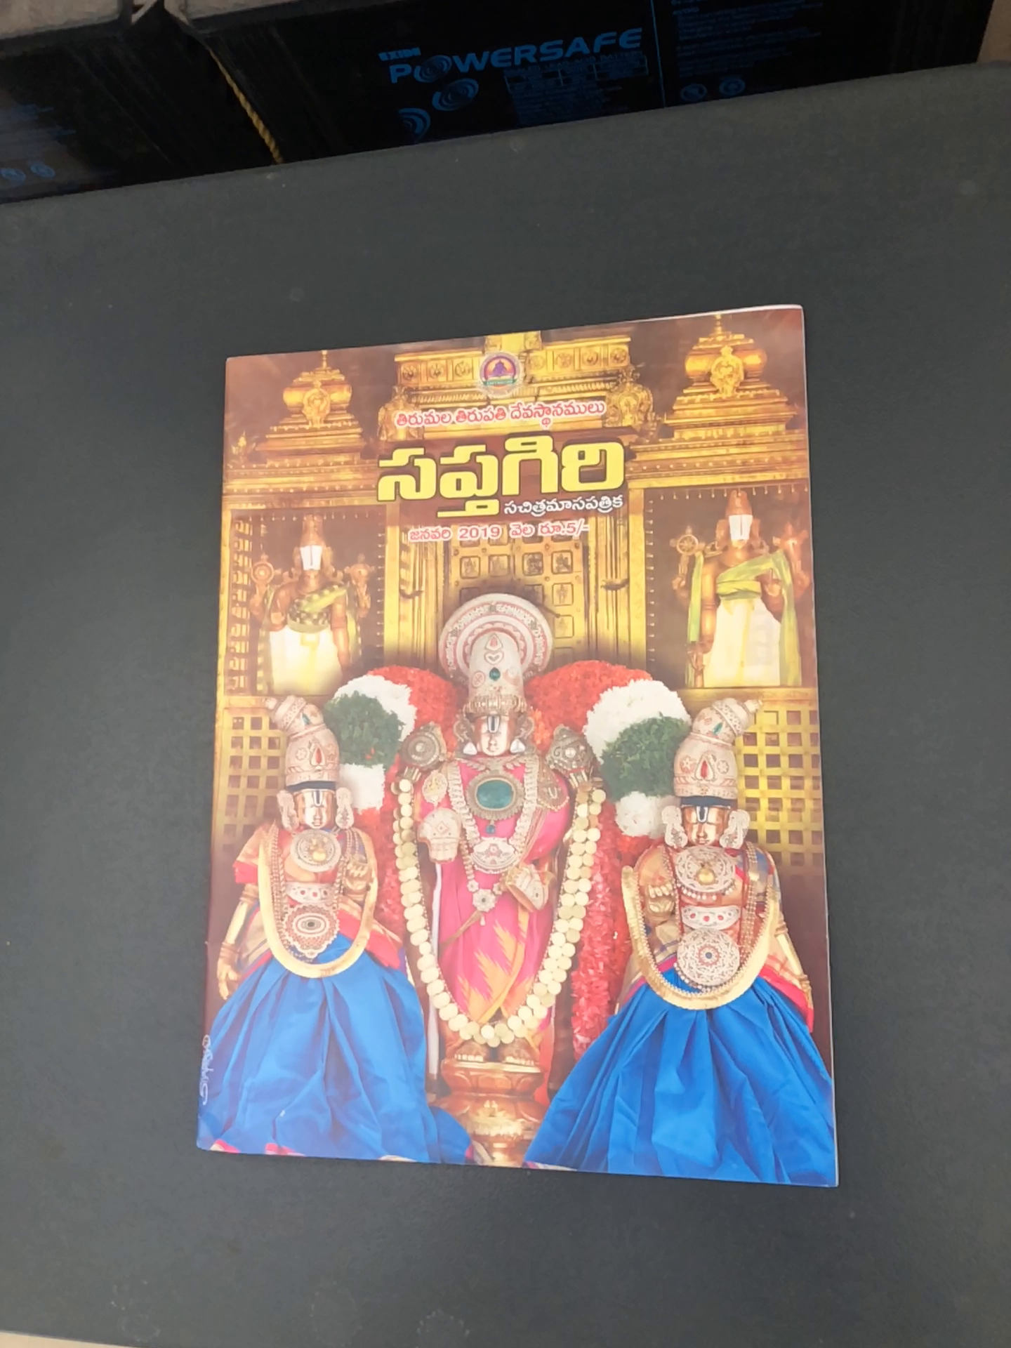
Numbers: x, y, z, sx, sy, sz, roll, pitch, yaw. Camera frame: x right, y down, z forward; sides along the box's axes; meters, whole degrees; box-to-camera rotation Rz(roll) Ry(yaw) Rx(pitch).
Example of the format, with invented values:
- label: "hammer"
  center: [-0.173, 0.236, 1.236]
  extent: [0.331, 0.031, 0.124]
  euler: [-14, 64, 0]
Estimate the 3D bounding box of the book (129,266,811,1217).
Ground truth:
- label: "book"
  center: [-0.014, 0.016, 0.353]
  extent: [0.200, 0.030, 0.270]
  euler: [-2, 81, 12]
